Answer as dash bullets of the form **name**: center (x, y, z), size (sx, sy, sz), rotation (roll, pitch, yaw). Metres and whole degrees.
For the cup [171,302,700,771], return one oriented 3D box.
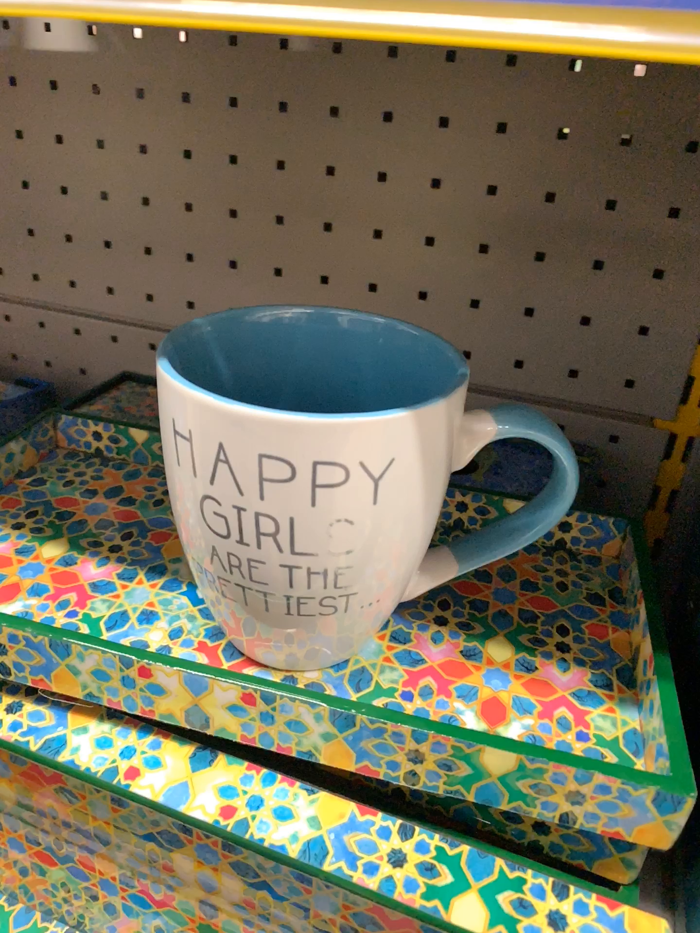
- **cup**: center (0.029, 0.015, 0.250), size (0.150, 0.100, 0.120), rotation (5, 27, -1)
